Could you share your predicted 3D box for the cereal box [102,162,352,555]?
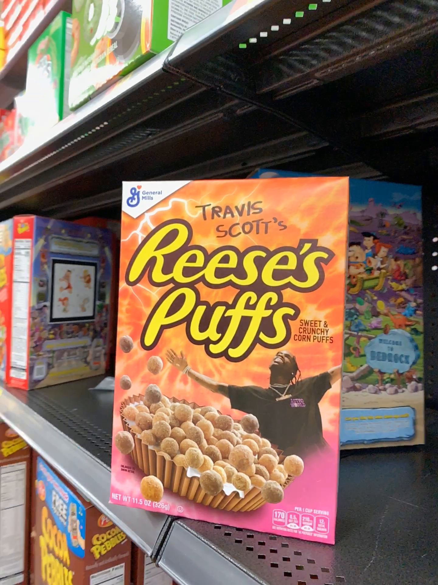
[{"bbox_3d":[0.006,0.045,0.389,0.200,0.290,0.050,2,-1,17],"label":"cereal box"}]
